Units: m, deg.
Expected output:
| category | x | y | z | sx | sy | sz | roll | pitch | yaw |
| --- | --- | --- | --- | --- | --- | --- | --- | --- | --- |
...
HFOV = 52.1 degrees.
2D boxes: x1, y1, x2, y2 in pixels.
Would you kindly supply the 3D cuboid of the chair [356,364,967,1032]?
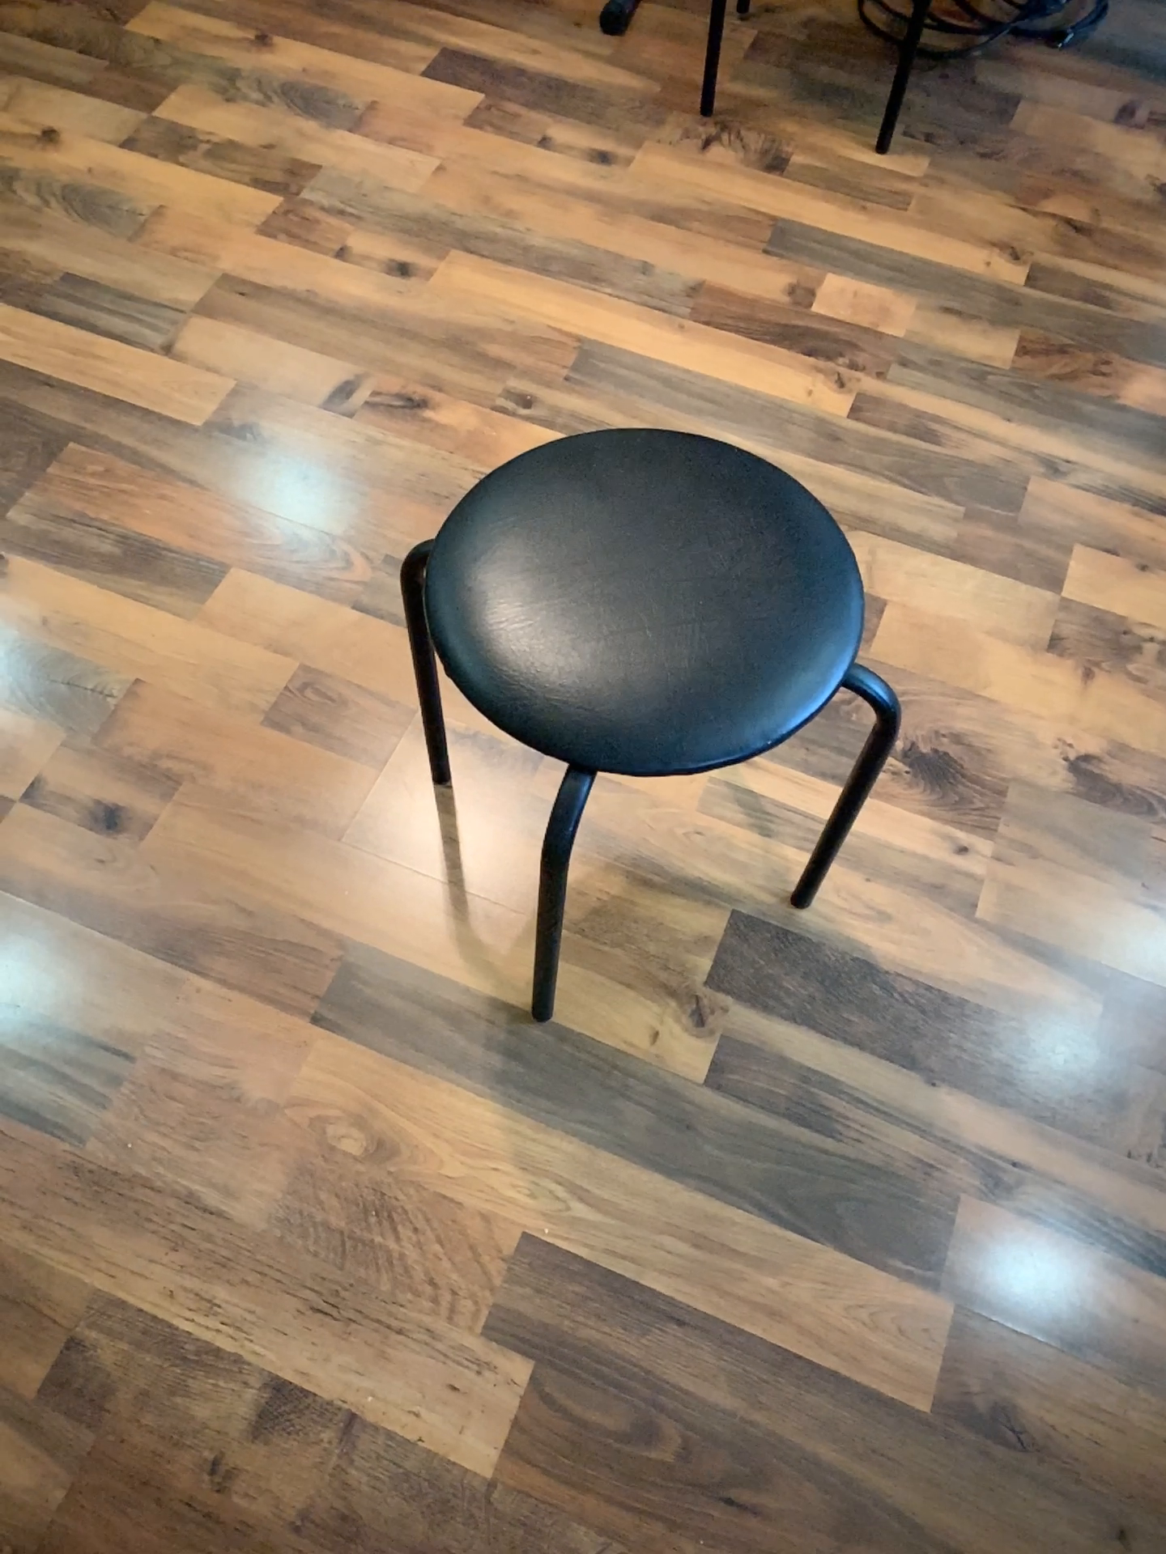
| category | x | y | z | sx | sy | sz | roll | pitch | yaw |
| --- | --- | --- | --- | --- | --- | --- | --- | --- | --- |
| chair | 0.047 | -0.051 | 1.085 | 0.350 | 0.427 | 0.332 | -22 | 63 | -13 |
